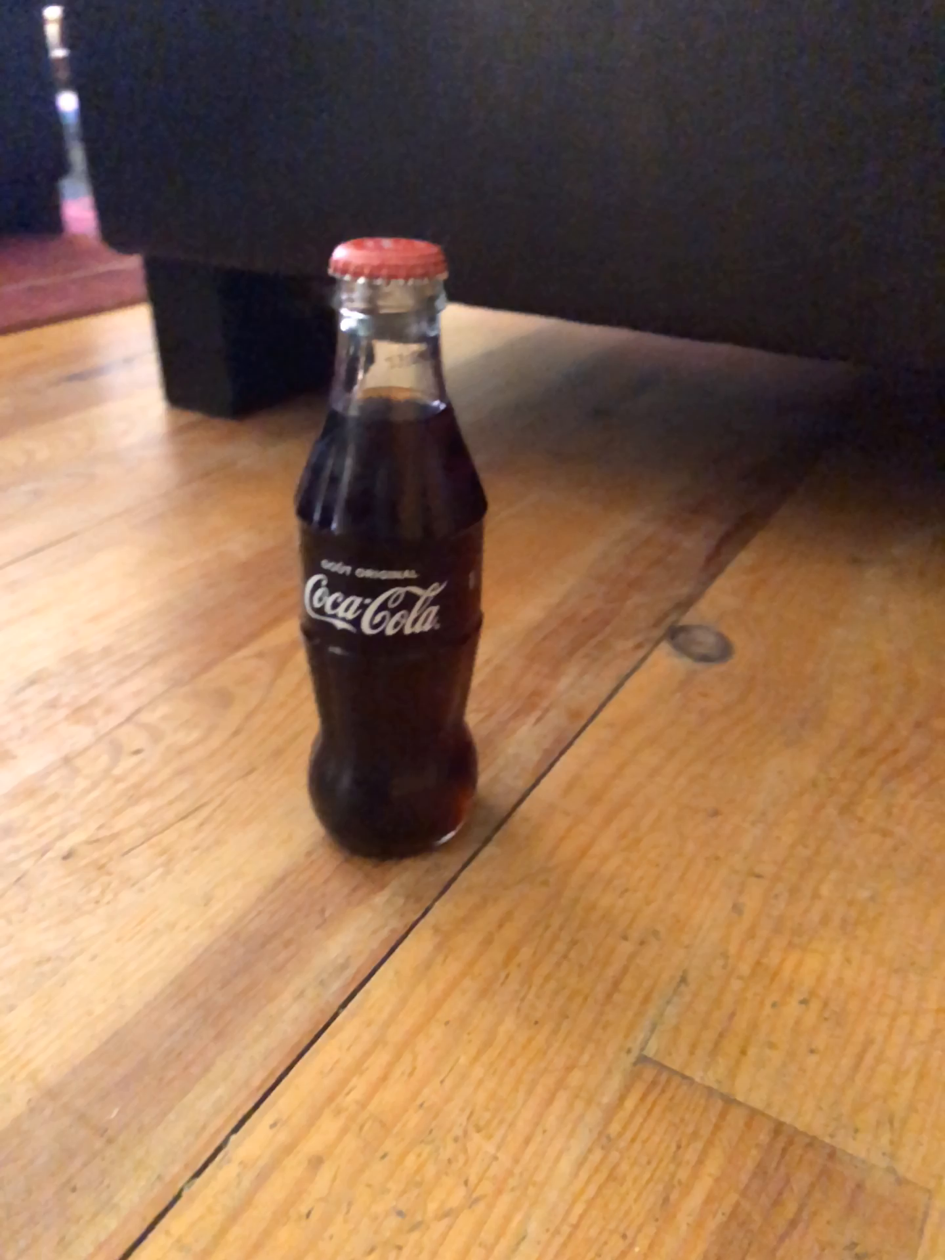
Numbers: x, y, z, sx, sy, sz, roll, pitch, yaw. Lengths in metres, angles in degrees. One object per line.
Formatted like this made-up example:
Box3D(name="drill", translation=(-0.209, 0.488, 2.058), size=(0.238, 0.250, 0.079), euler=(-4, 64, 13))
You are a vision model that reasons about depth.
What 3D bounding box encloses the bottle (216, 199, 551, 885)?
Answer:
Box3D(name="bottle", translation=(-0.019, -0.021, 0.286), size=(0.060, 0.169, 0.060), euler=(1, 29, -1))
